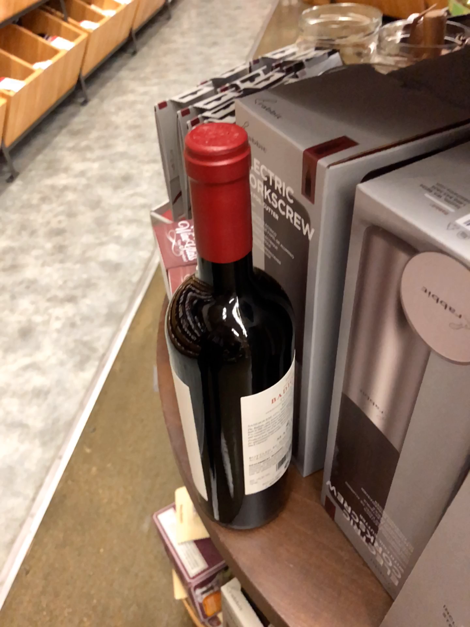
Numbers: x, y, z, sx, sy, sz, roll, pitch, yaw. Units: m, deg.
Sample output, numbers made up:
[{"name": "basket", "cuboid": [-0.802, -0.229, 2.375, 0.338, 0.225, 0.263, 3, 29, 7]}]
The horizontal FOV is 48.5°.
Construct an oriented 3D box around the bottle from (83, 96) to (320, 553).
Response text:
[{"name": "bottle", "cuboid": [-0.002, 0.032, 0.313, 0.073, 0.285, 0.076, -3, 42, 3]}]
